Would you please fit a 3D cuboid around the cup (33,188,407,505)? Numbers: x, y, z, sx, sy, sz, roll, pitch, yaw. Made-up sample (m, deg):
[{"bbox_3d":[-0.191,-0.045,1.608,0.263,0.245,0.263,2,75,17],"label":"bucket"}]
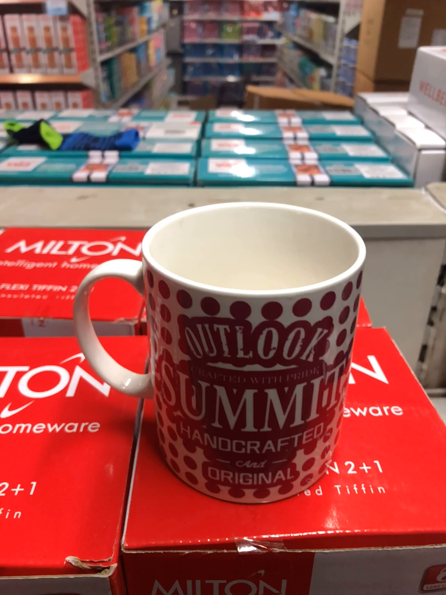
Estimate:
[{"bbox_3d":[-0.001,0.017,0.208,0.110,0.099,0.081,1,31,1],"label":"cup"}]
